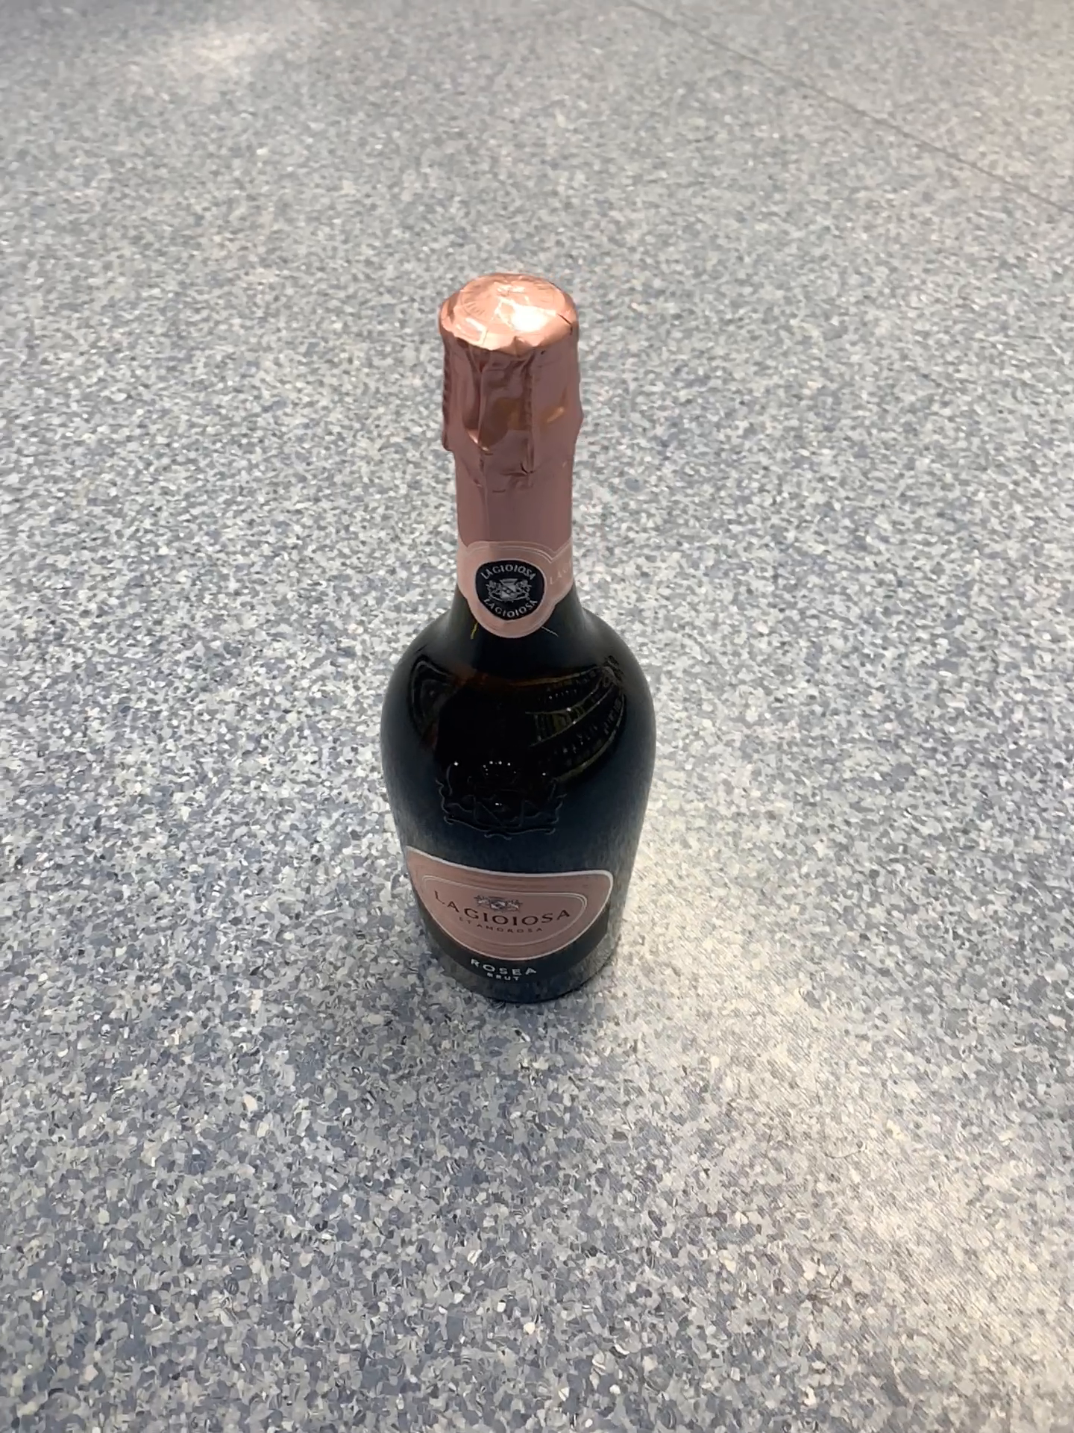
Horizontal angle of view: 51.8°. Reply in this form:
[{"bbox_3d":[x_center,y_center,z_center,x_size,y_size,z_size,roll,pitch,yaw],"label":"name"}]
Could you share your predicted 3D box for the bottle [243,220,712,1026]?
[{"bbox_3d":[-0.009,-0.004,0.352,0.094,0.268,0.079,6,50,6],"label":"bottle"}]
